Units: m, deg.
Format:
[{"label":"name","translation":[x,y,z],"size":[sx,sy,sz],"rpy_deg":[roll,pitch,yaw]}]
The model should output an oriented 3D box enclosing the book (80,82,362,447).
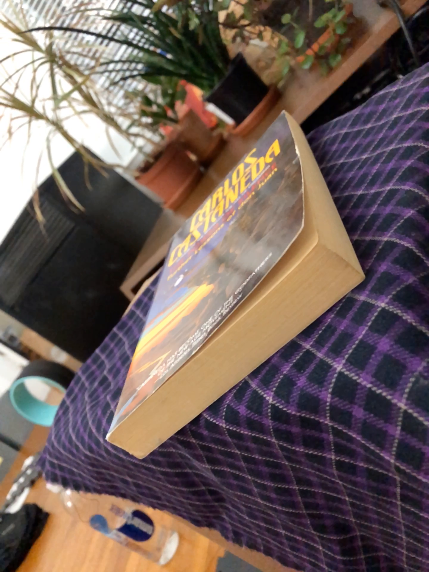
[{"label":"book","translation":[0.001,-0.034,0.285],"size":[0.150,0.020,0.221],"rpy_deg":[-44,20,26]}]
